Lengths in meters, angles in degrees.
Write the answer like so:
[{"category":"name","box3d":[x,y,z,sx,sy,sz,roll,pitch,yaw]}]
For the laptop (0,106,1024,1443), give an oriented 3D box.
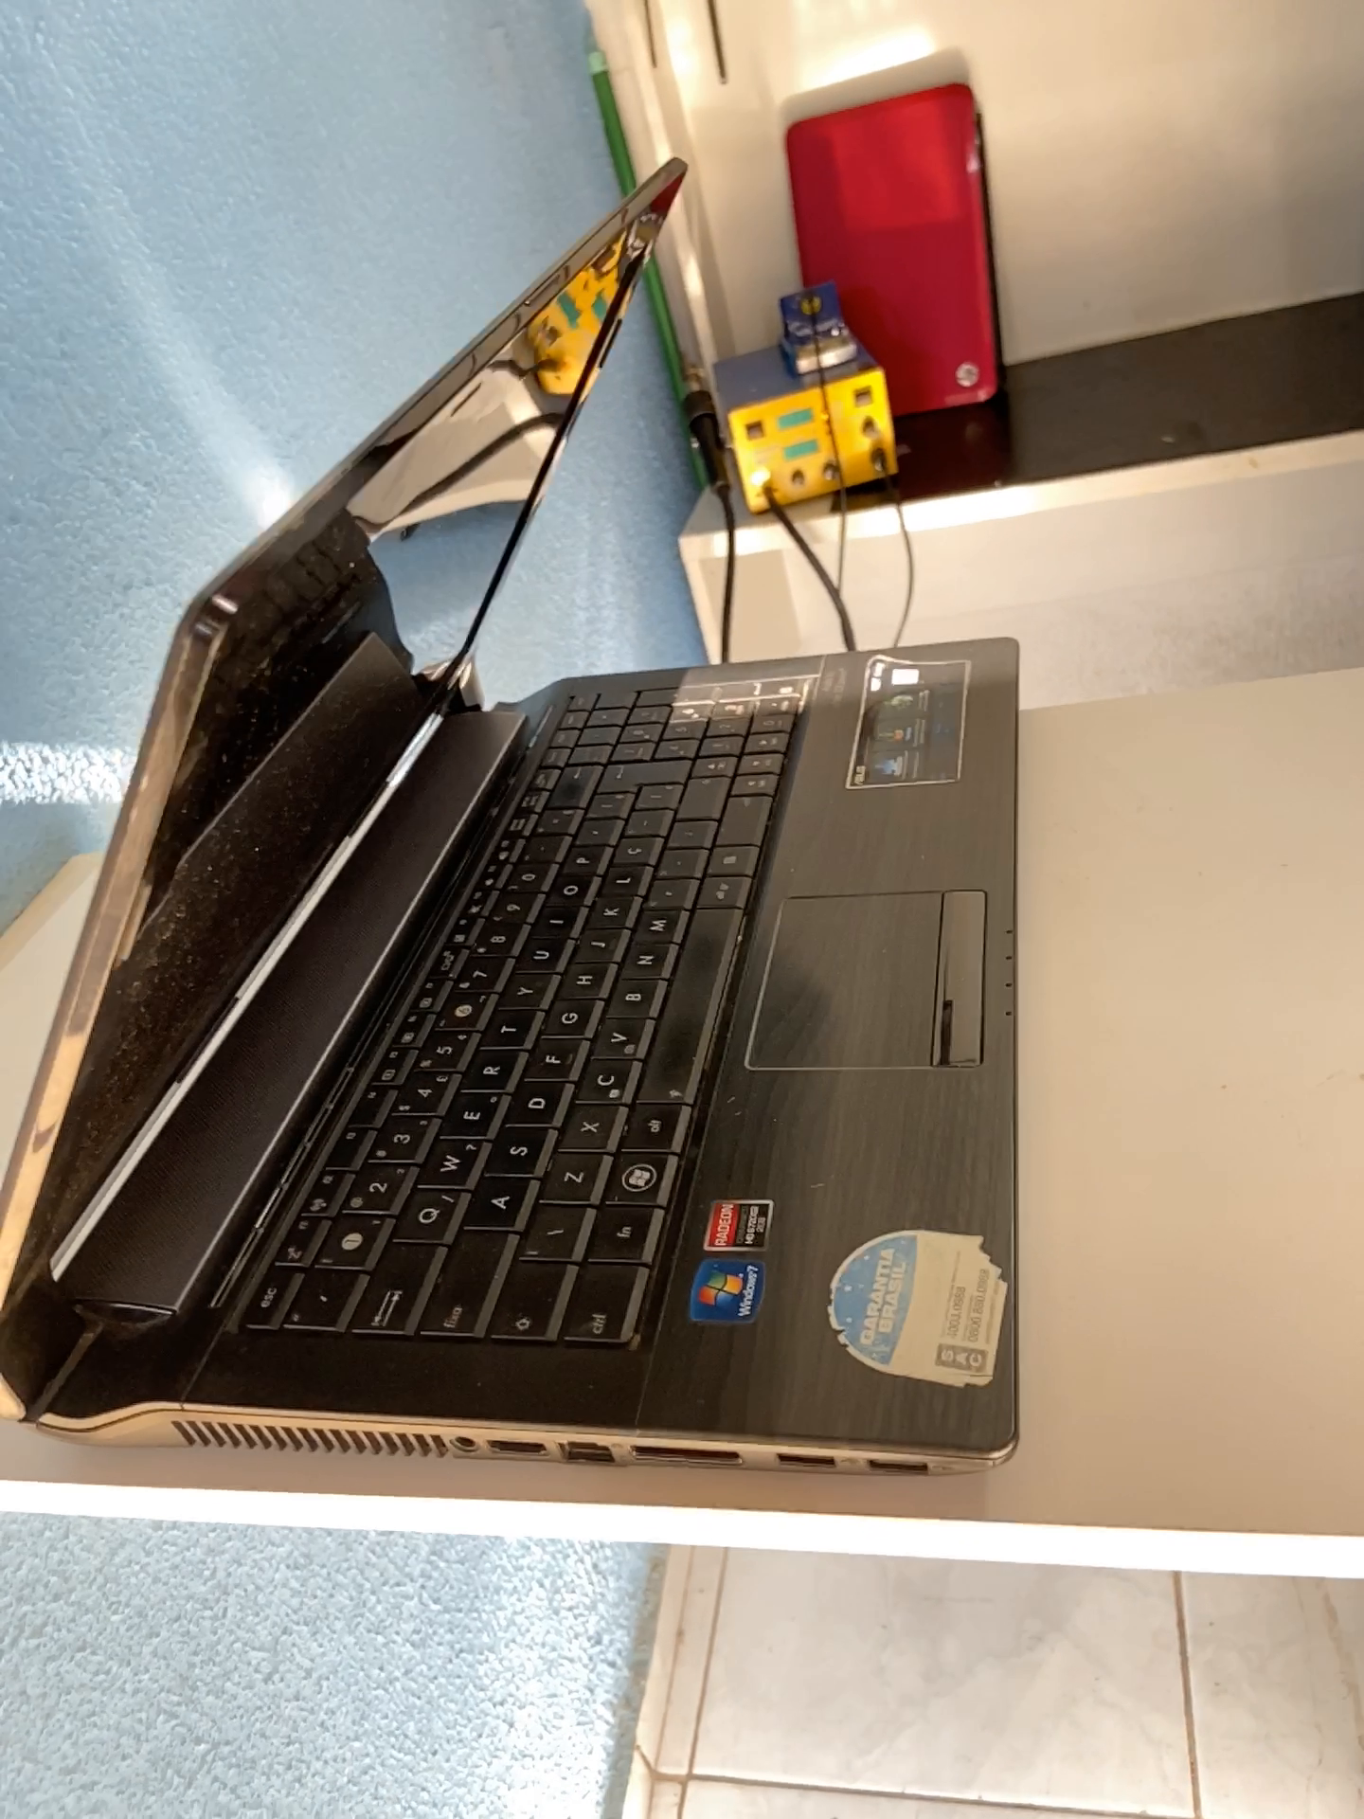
[{"category":"laptop","box3d":[-0.039,-0.075,0.434,0.255,0.208,0.389,-6,34,17]}]
